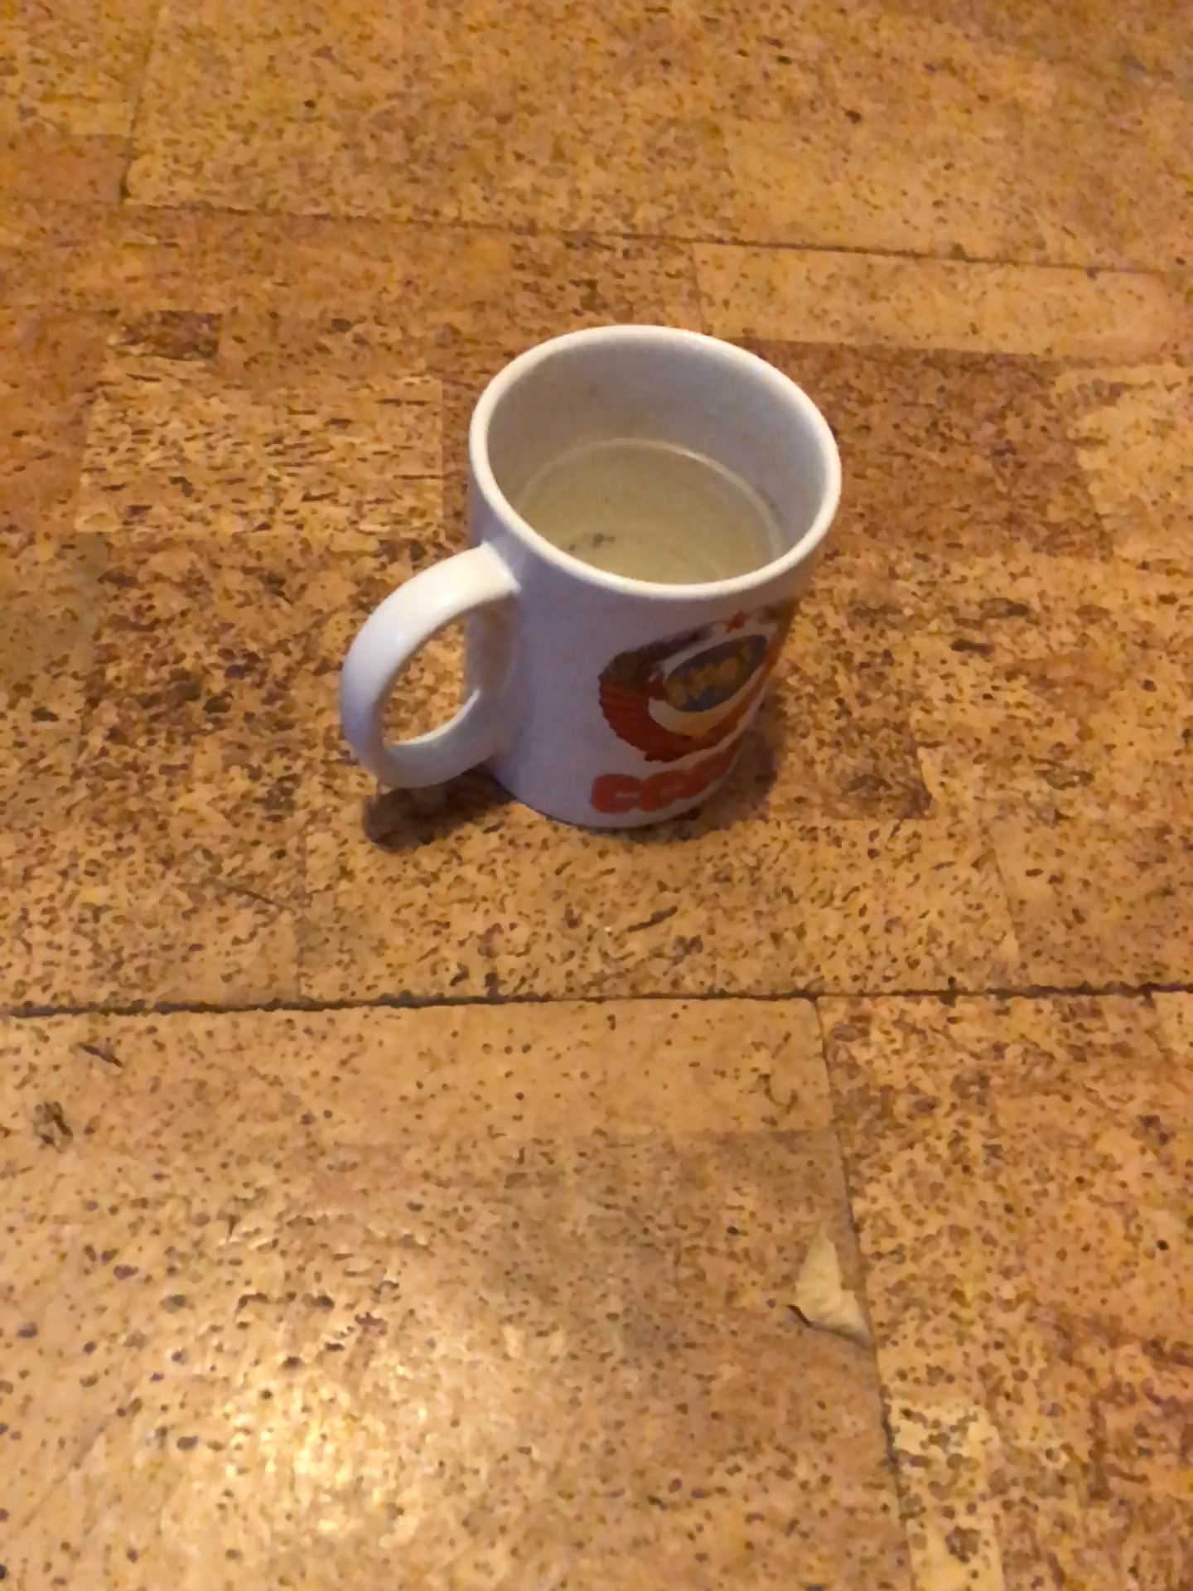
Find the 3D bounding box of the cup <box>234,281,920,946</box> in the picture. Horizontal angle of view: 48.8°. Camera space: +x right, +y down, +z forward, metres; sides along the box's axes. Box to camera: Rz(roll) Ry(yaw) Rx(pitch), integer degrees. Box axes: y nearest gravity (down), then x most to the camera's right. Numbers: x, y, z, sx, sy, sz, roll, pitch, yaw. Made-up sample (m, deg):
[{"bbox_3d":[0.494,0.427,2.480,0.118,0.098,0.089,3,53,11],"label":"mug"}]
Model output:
[{"bbox_3d":[-0.009,-0.042,0.317,0.119,0.099,0.083,-23,64,-20],"label":"cup"}]
